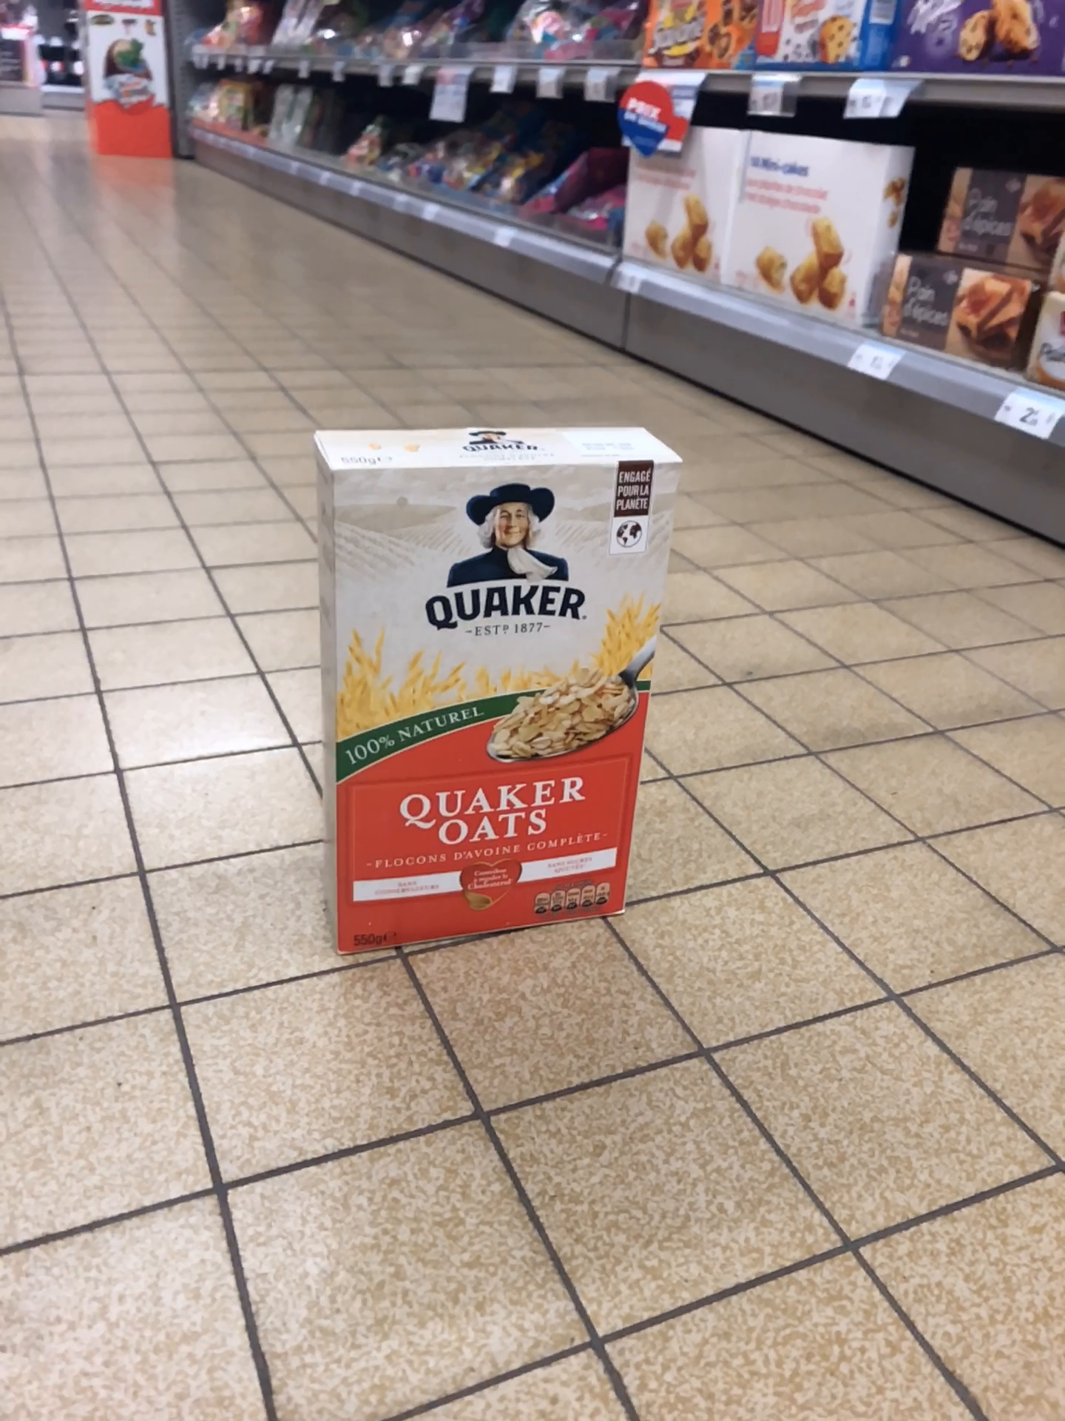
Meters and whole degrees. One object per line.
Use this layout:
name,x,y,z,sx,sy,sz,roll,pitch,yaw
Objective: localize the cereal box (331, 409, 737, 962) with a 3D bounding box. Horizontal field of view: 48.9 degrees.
cereal box,-0.008,-0.008,0.506,0.150,0.229,0.050,-4,28,-16
